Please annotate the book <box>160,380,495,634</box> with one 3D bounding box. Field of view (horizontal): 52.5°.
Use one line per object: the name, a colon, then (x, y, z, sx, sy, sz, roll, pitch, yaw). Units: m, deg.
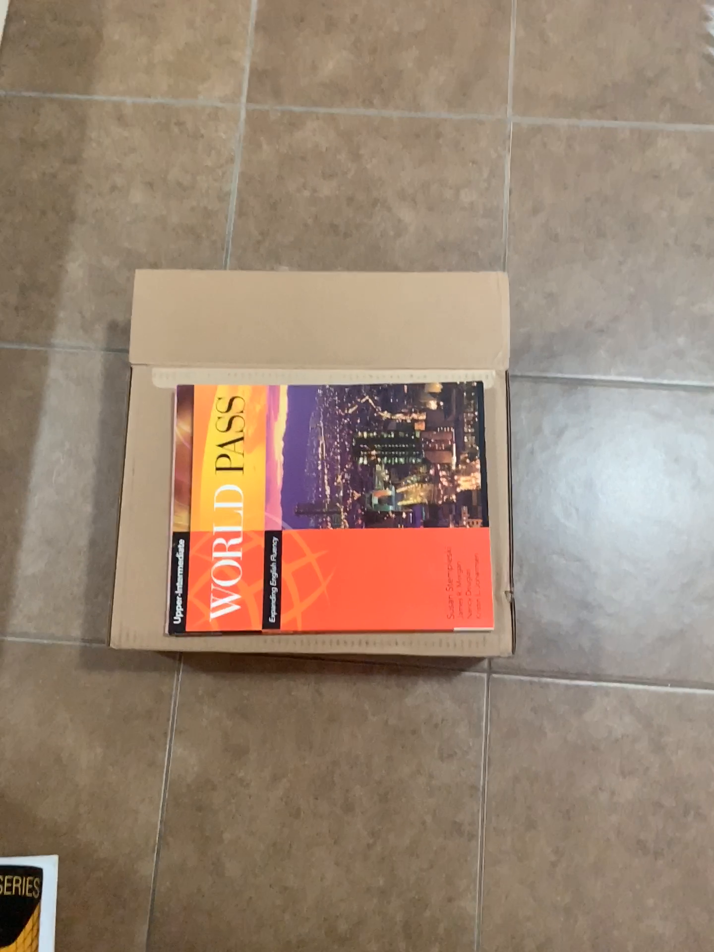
book: (-0.025, 0.025, 0.612, 0.270, 0.018, 0.211, -1, 80, 1)
